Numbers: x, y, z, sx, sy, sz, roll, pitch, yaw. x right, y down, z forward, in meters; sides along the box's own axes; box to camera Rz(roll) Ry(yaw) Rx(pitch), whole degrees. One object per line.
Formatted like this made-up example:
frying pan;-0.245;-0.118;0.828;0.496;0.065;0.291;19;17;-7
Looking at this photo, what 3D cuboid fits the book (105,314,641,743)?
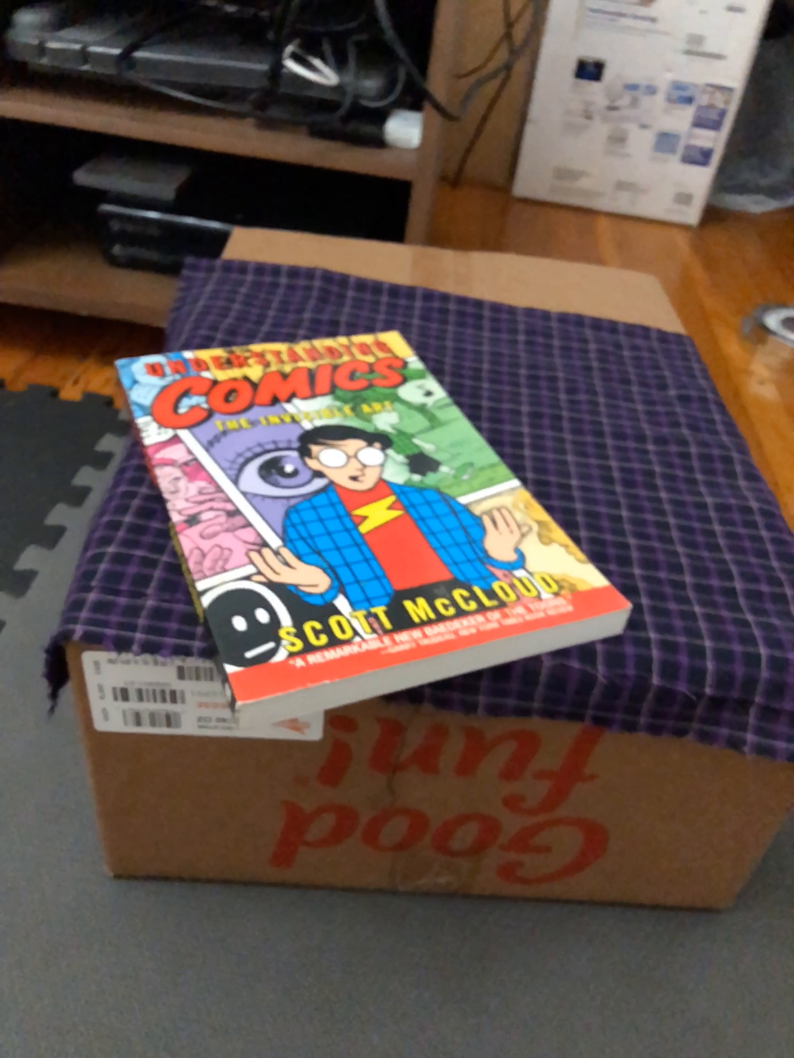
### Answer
book;-0.032;-0.029;0.430;0.170;0.020;0.271;-10;42;-22
